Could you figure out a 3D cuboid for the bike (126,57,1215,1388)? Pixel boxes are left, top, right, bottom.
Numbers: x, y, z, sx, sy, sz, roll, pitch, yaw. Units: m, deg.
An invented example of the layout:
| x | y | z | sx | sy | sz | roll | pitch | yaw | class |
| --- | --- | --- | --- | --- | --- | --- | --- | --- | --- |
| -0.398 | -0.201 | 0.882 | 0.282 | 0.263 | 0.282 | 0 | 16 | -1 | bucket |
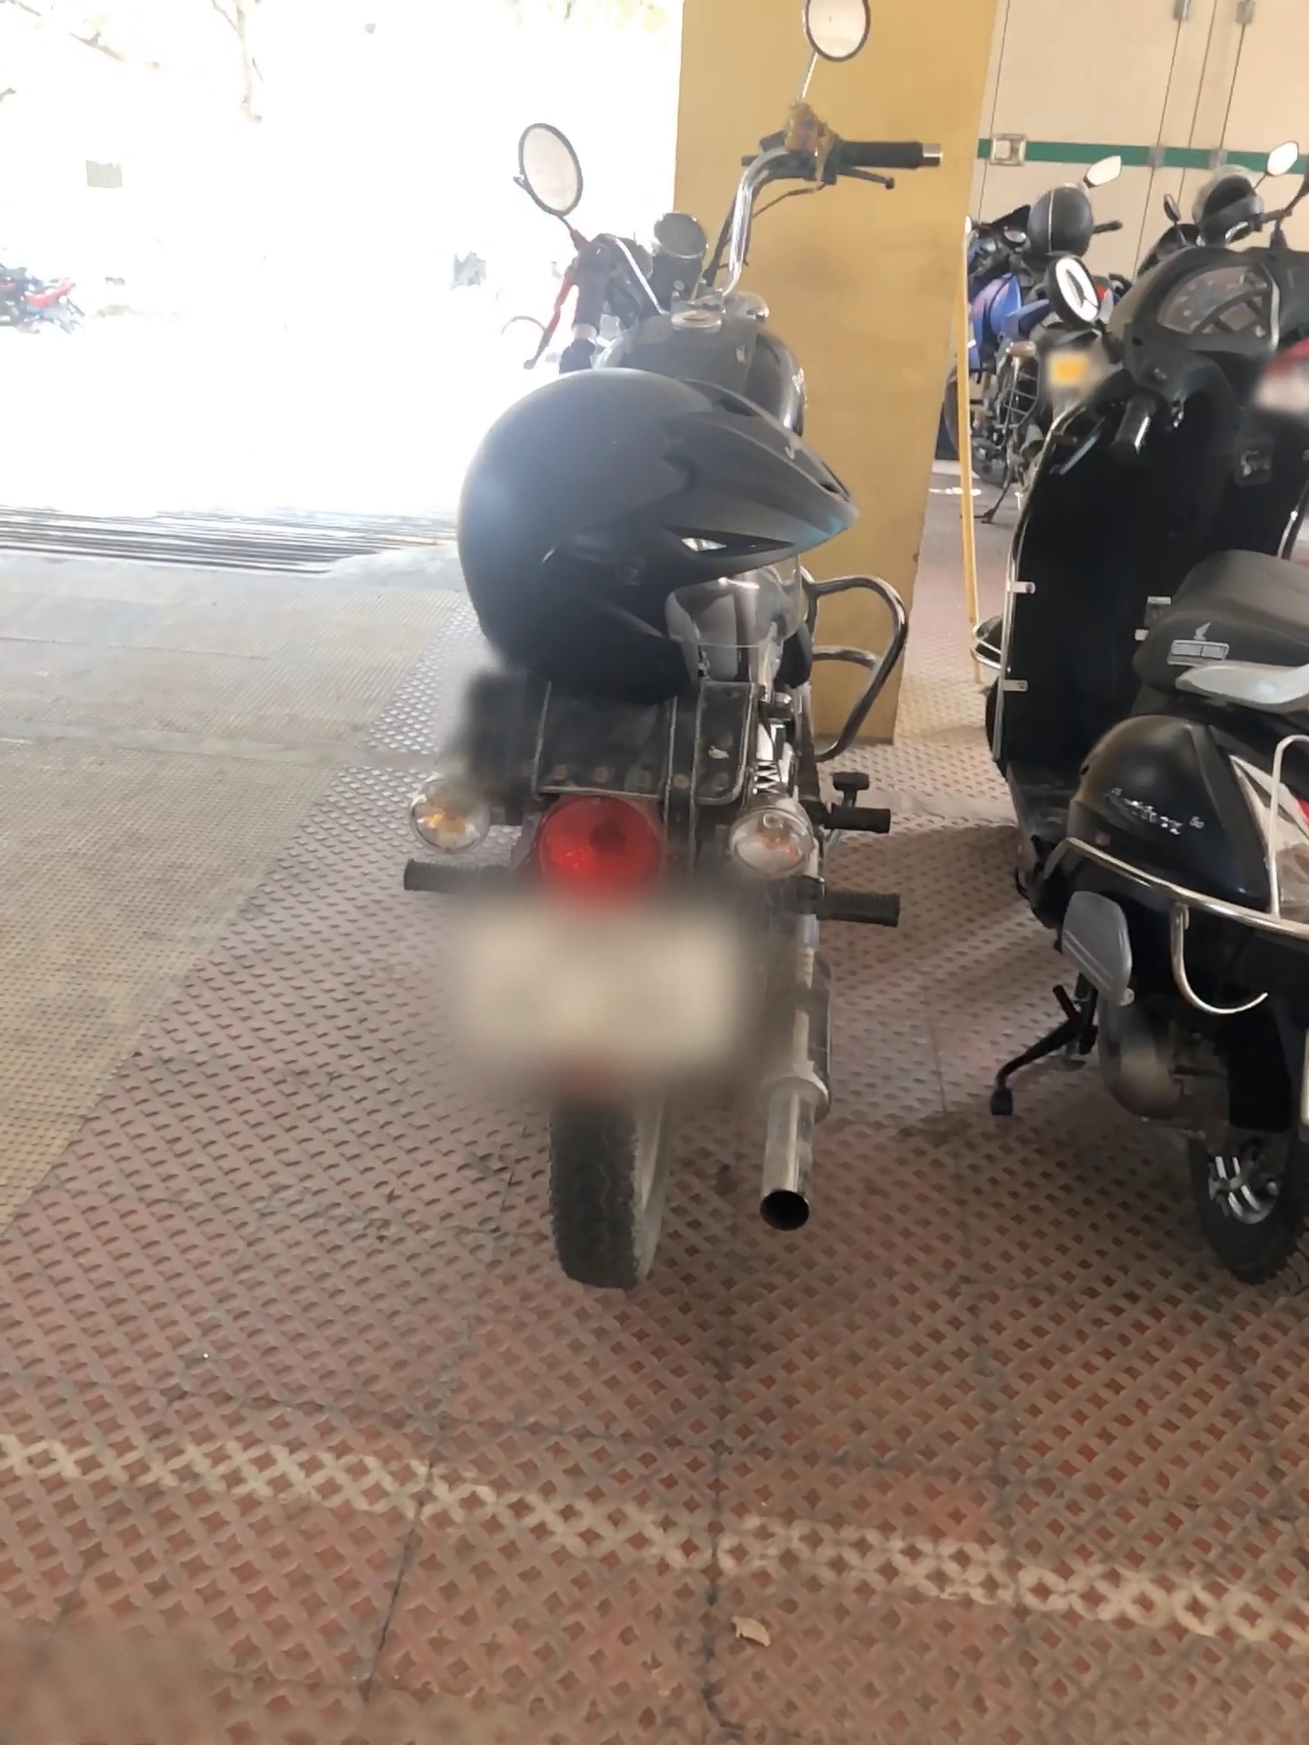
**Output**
| x | y | z | sx | sy | sz | roll | pitch | yaw | class |
| --- | --- | --- | --- | --- | --- | --- | --- | --- | --- |
| -0.078 | -0.464 | 2.080 | 0.783 | 1.177 | 1.820 | 1 | 30 | -3 | bike |
